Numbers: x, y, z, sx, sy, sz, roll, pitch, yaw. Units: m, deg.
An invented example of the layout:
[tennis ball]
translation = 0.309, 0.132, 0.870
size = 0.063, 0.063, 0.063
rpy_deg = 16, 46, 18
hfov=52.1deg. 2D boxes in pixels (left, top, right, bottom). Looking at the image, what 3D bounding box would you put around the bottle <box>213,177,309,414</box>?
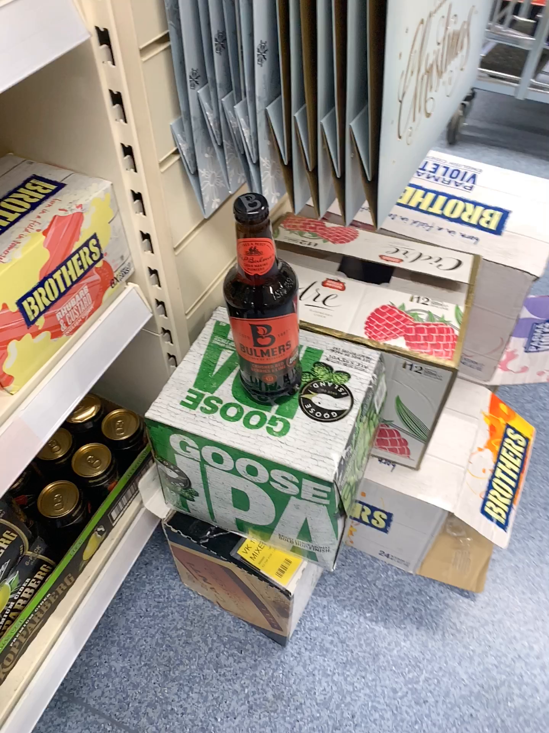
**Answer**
[bottle]
translation = -0.007, -0.055, 0.542
size = 0.070, 0.234, 0.071
rpy_deg = -2, 50, 2
